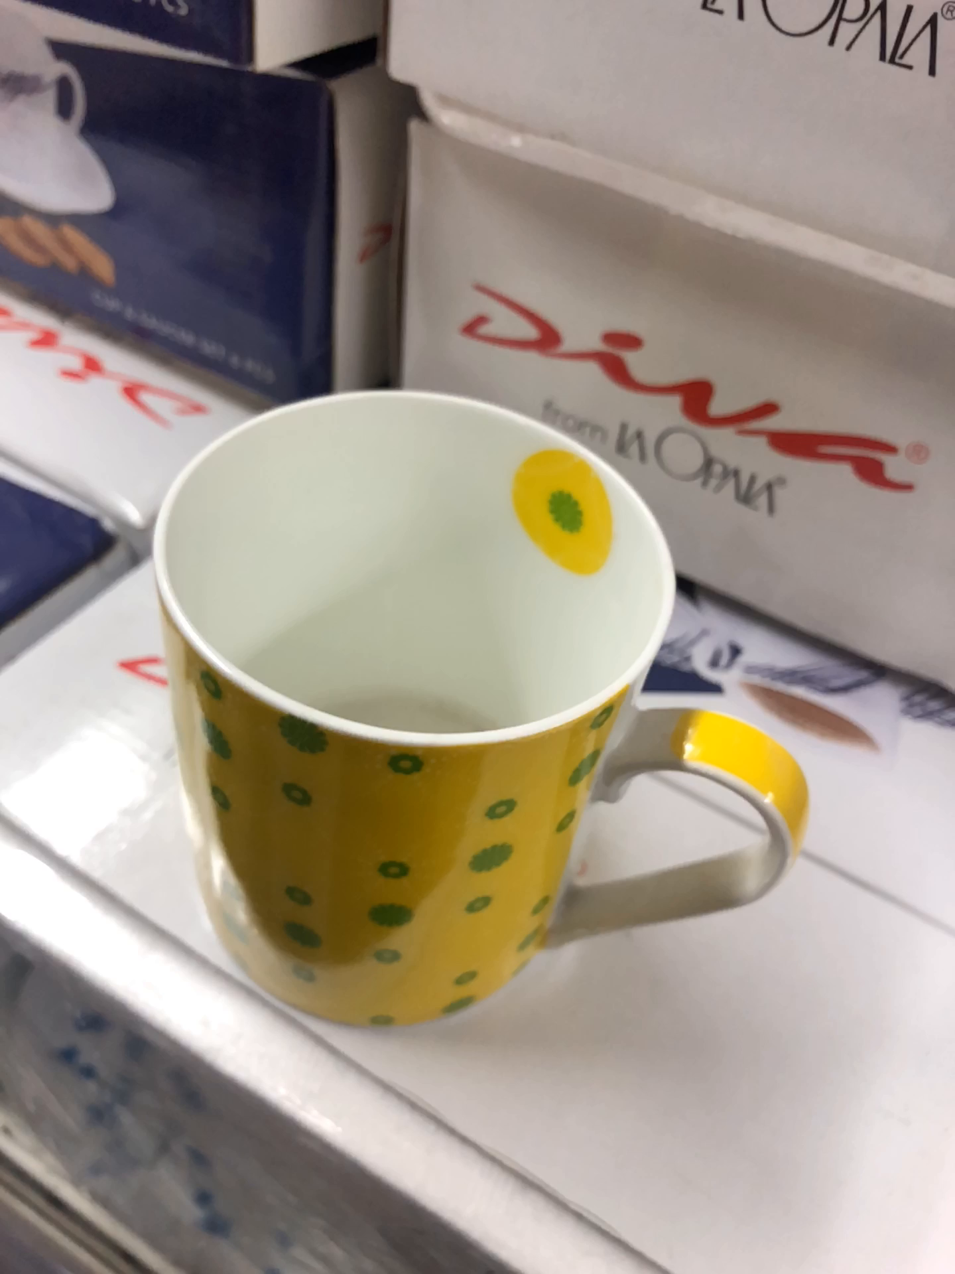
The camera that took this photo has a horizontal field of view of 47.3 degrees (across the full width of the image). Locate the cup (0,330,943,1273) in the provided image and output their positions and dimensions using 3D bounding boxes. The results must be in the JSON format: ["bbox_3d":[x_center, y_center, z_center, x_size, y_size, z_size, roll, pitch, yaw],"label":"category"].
[{"bbox_3d":[-0.003,0.022,0.154,0.090,0.080,0.070,26,50,16],"label":"cup"}]
